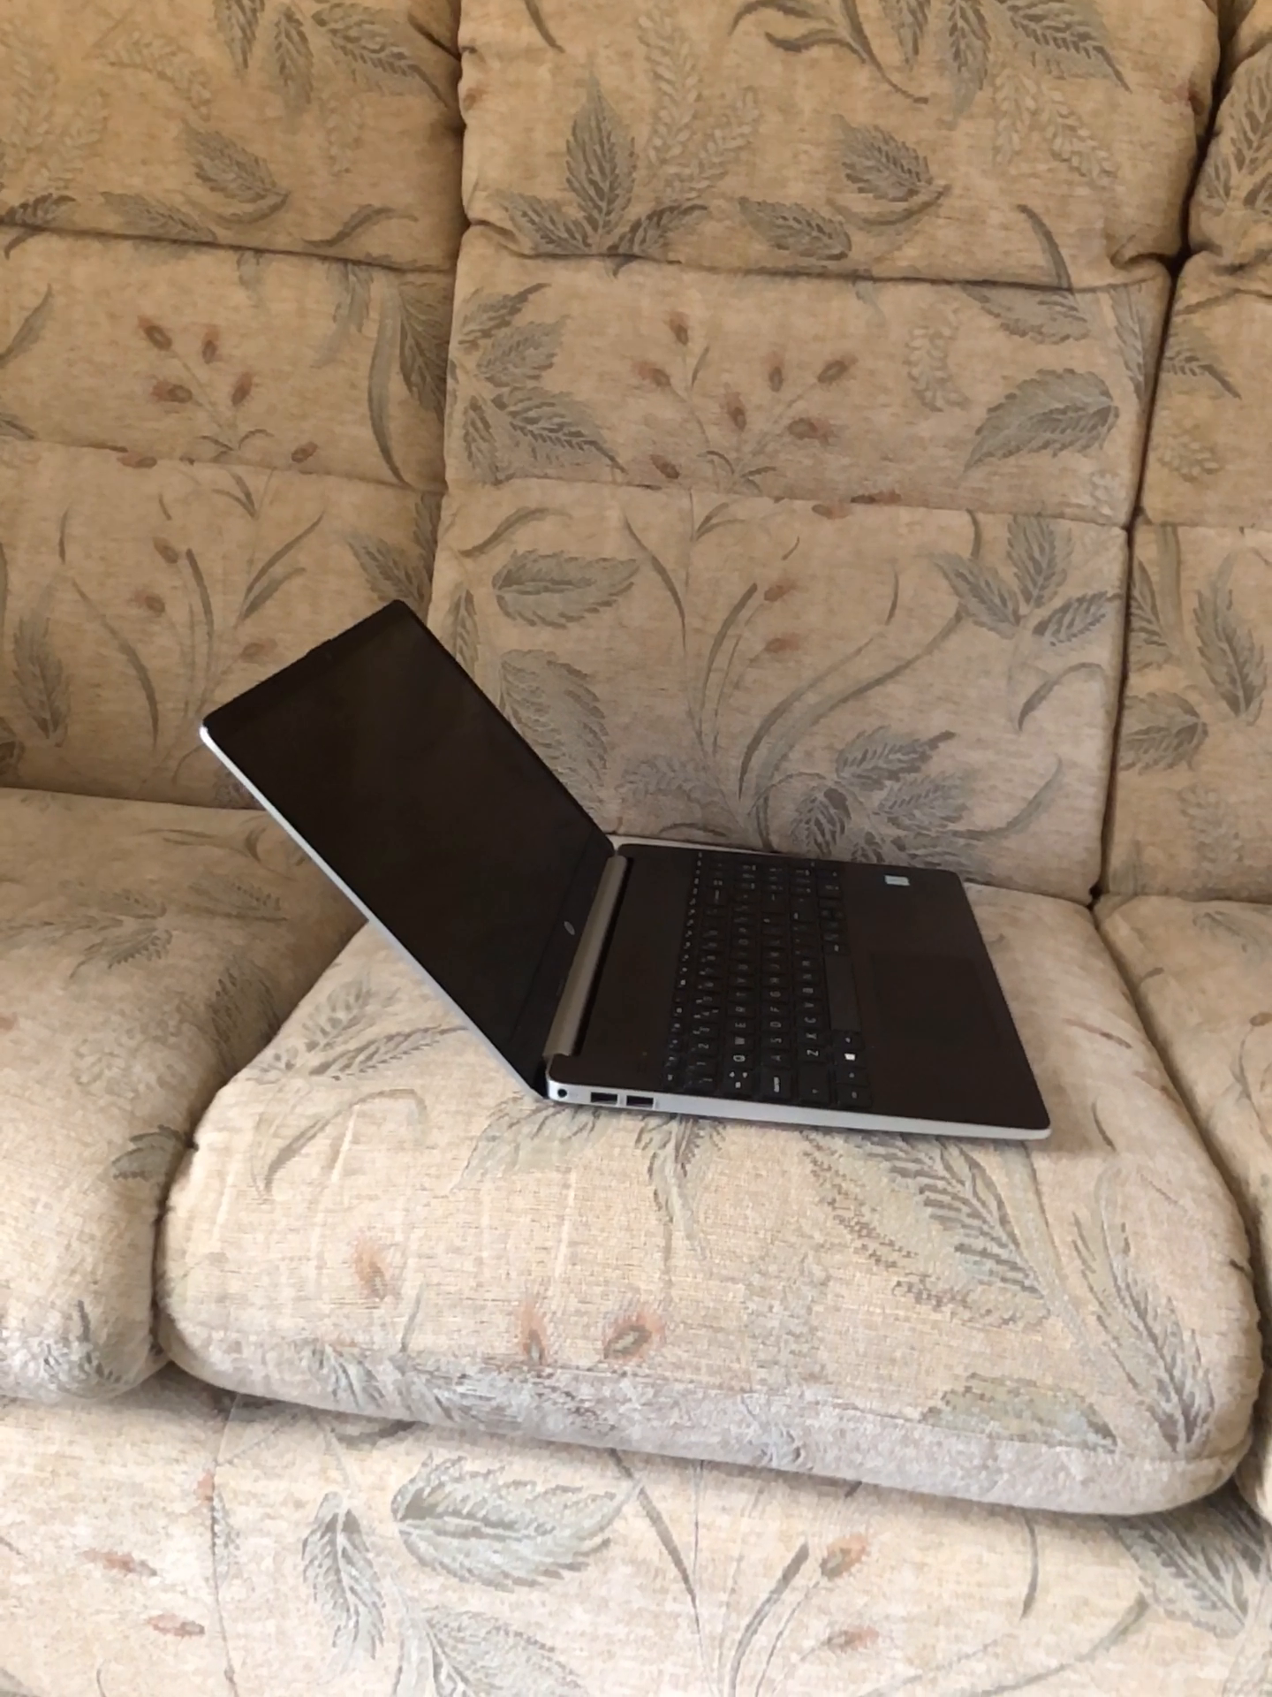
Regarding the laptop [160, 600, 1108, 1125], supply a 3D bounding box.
[{"bbox_3d":[0.012,-0.017,0.781,0.397,0.163,0.340,5,21,3],"label":"laptop"}]
